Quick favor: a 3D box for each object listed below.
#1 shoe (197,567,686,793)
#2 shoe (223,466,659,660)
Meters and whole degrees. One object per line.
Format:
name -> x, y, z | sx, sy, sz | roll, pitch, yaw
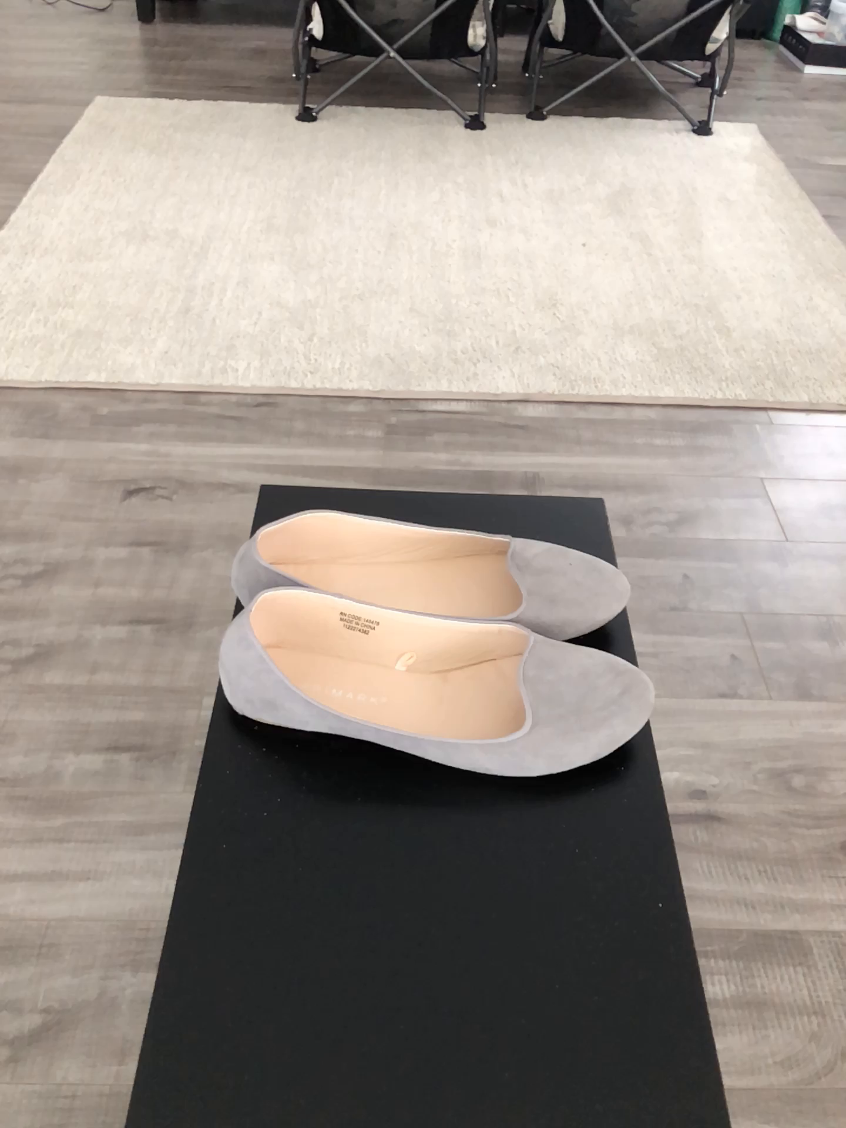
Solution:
shoe -> 0.010, 0.064, 0.532 | 0.250, 0.060, 0.100 | 3, 44, 0
shoe -> 0.011, -0.002, 0.601 | 0.256, 0.060, 0.100 | 3, 44, 0
